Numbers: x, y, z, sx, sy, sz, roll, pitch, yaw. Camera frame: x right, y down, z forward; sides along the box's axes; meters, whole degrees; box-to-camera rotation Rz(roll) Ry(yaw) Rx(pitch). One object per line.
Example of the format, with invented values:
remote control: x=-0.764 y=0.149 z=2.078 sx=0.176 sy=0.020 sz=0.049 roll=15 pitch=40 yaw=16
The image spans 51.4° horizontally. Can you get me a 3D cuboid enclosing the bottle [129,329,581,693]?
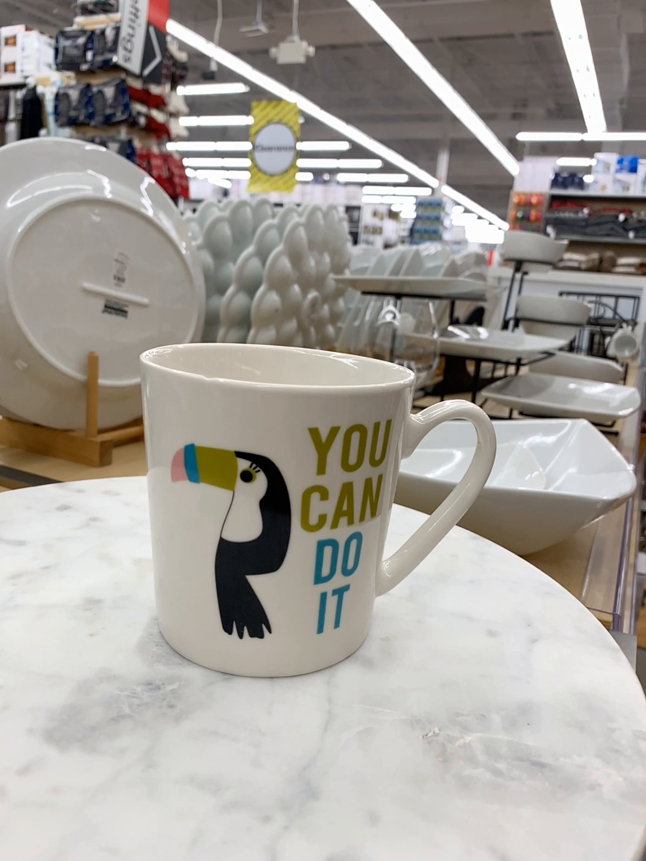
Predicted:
bottle: x=0.001 y=0.023 z=0.269 sx=0.143 sy=0.107 sz=0.104 roll=2 pitch=13 yaw=-13
